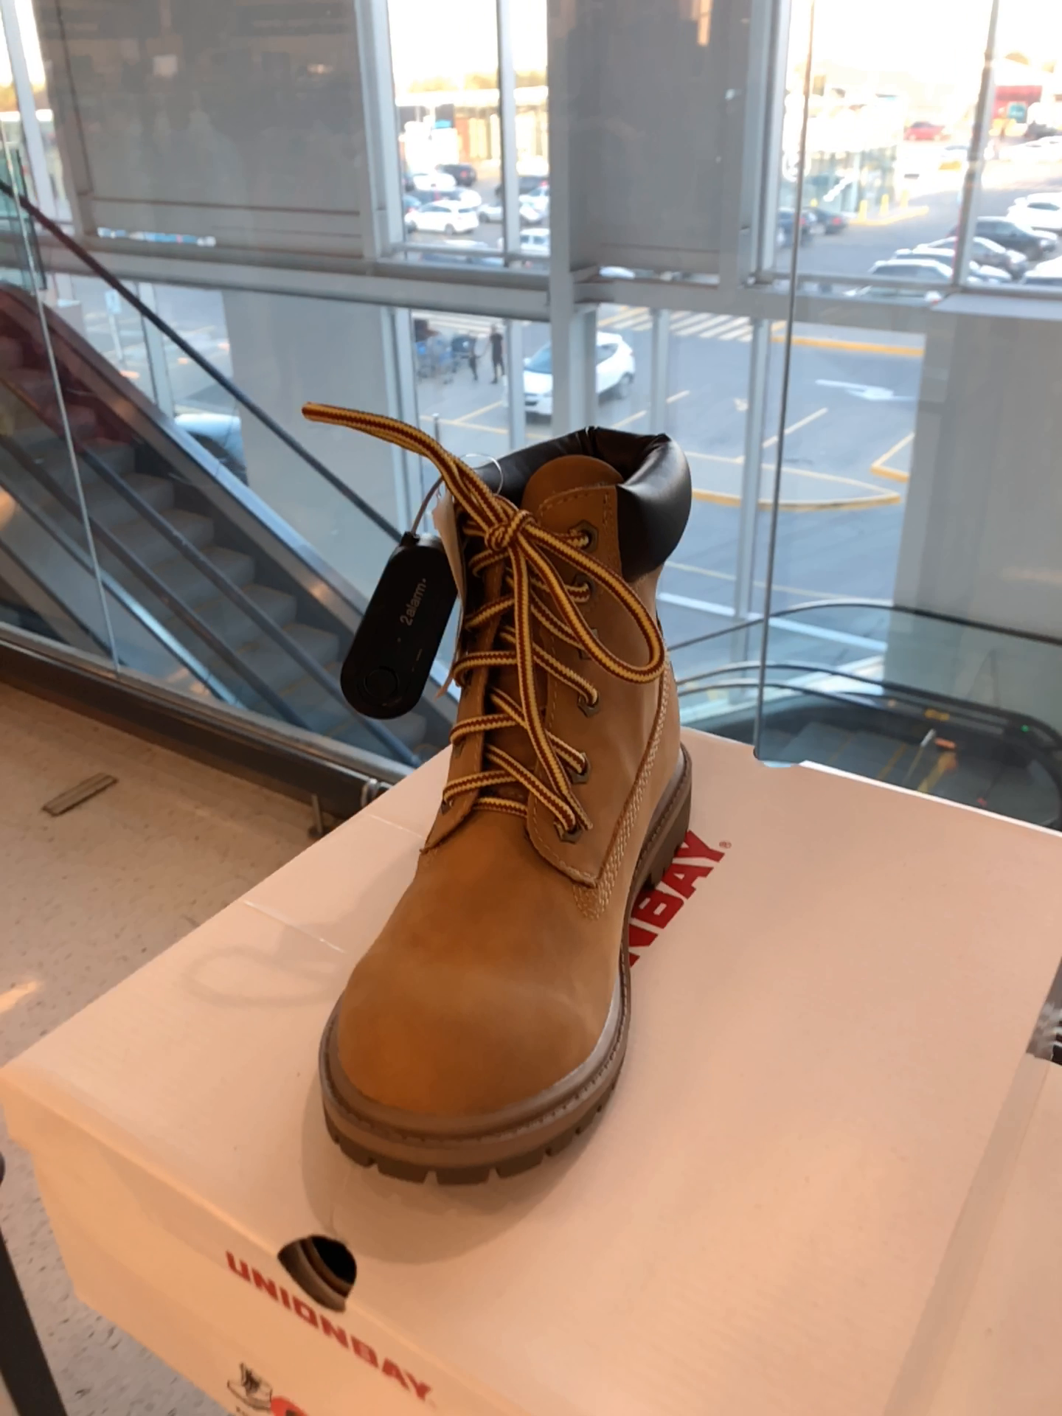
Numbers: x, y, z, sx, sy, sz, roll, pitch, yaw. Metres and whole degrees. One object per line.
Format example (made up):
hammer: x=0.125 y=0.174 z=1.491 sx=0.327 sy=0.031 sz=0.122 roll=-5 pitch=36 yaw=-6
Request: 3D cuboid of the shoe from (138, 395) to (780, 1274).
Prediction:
shoe: x=0.003 y=0.013 z=0.387 sx=0.107 sy=0.169 sz=0.242 roll=8 pitch=30 yaw=17
